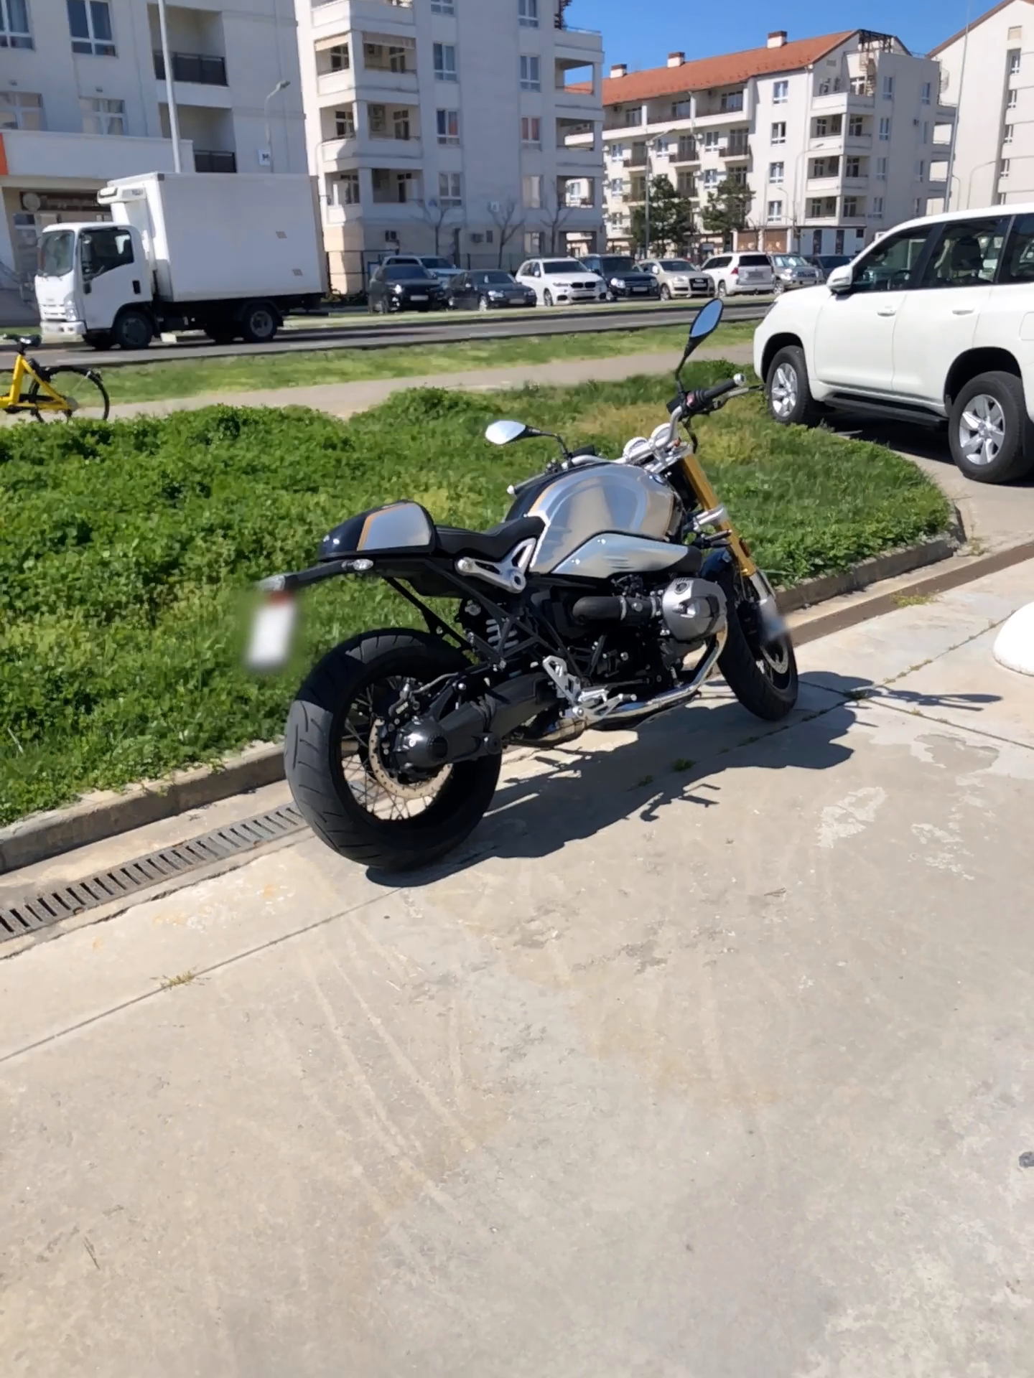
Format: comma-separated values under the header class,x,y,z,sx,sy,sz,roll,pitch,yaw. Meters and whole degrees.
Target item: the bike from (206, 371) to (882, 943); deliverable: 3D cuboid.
class,x,y,z,sx,sy,sz,roll,pitch,yaw
bike,0.242,-0.273,3.379,0.648,1.123,2.073,16,26,40
